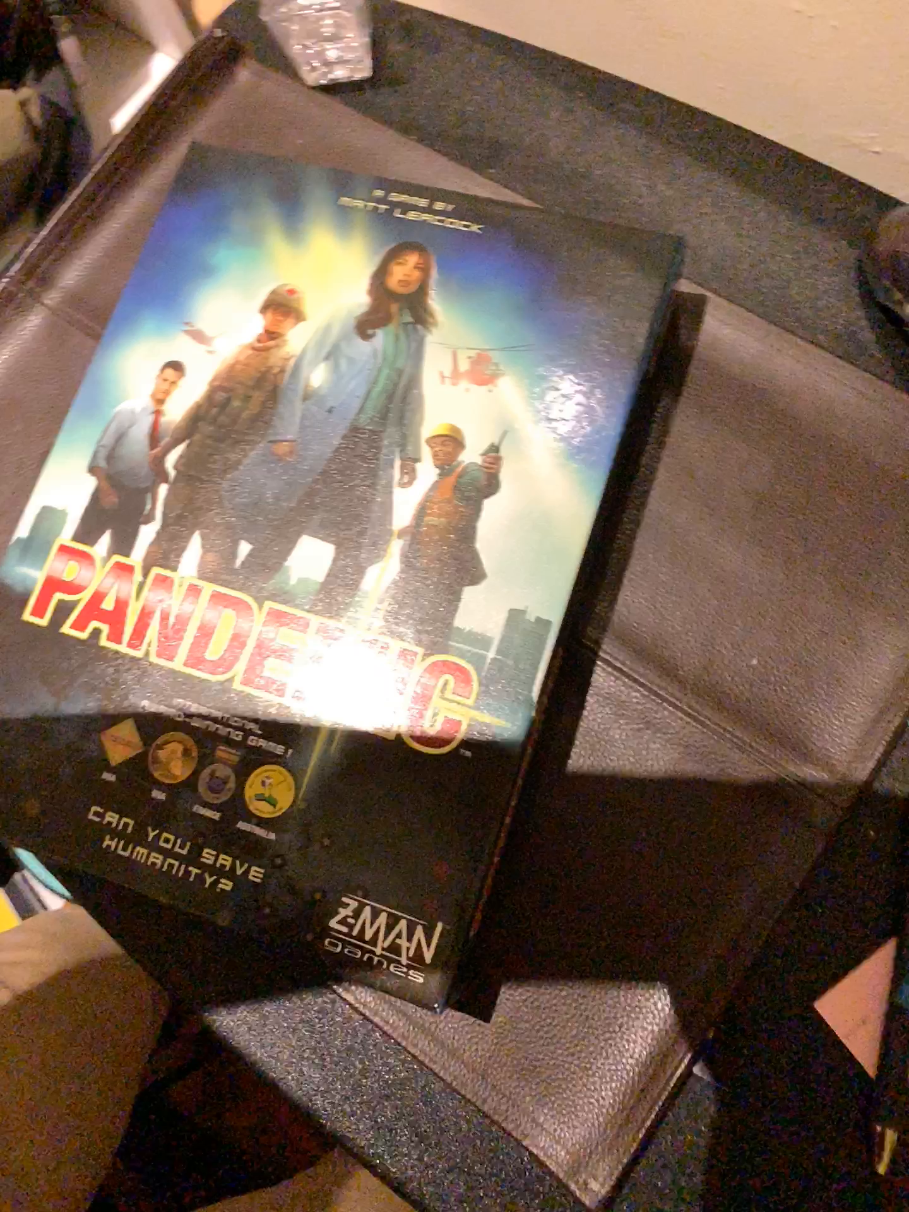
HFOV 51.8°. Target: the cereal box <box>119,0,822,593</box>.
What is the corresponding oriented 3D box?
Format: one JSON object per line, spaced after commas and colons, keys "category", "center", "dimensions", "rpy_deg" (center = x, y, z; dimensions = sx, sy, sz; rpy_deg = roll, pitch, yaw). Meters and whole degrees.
{"category": "cereal box", "center": [0.053, -0.440, 1.219], "dimensions": [0.470, 0.998, 0.511], "rpy_deg": [-13, 74, 6]}
